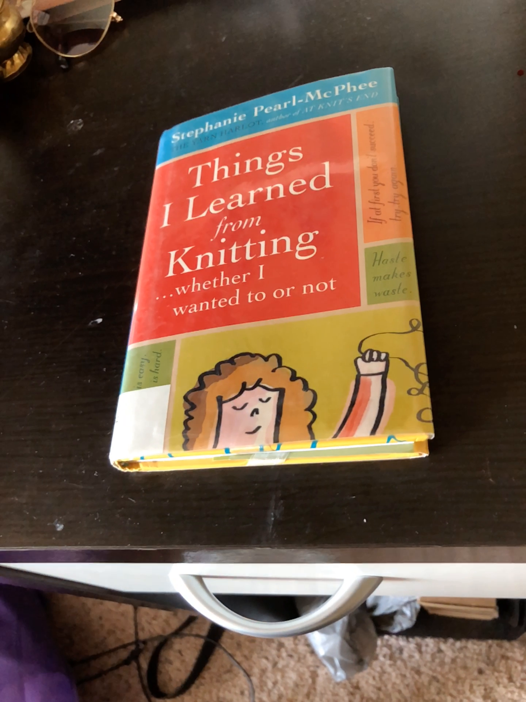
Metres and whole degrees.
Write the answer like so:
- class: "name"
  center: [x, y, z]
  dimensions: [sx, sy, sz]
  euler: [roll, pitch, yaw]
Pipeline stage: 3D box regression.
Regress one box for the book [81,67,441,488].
- class: "book"
  center: [0.000, -0.034, 0.234]
  dimensions: [0.118, 0.023, 0.166]
  euler: [-7, 60, 17]
